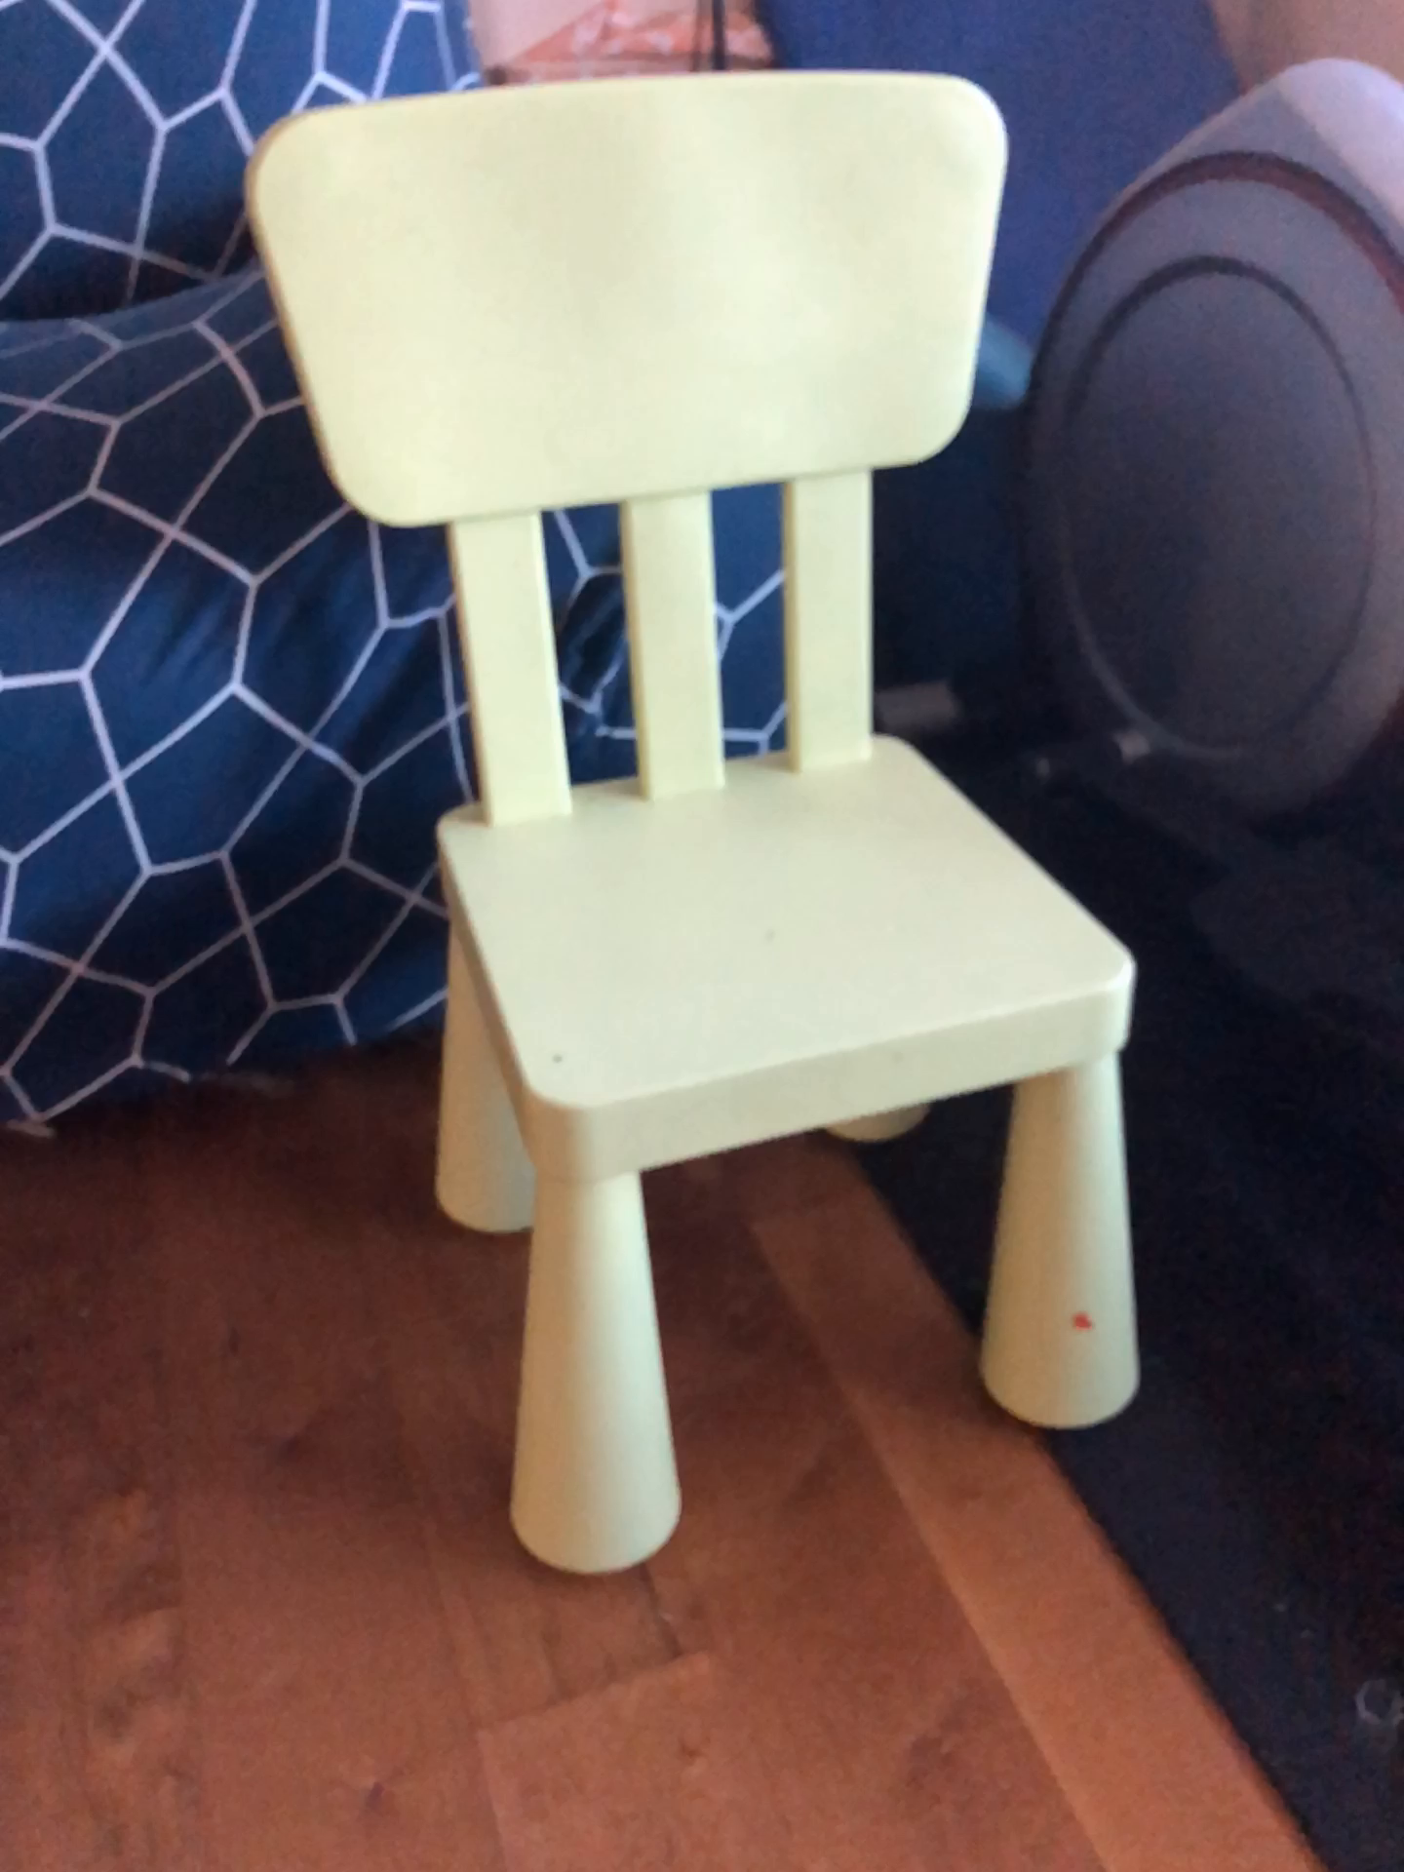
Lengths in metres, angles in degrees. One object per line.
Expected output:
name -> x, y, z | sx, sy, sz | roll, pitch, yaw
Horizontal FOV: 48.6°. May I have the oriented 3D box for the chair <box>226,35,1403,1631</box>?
chair -> 0.034, -0.080, 0.795 | 0.390, 0.636, 0.413 | -12, 34, -18
